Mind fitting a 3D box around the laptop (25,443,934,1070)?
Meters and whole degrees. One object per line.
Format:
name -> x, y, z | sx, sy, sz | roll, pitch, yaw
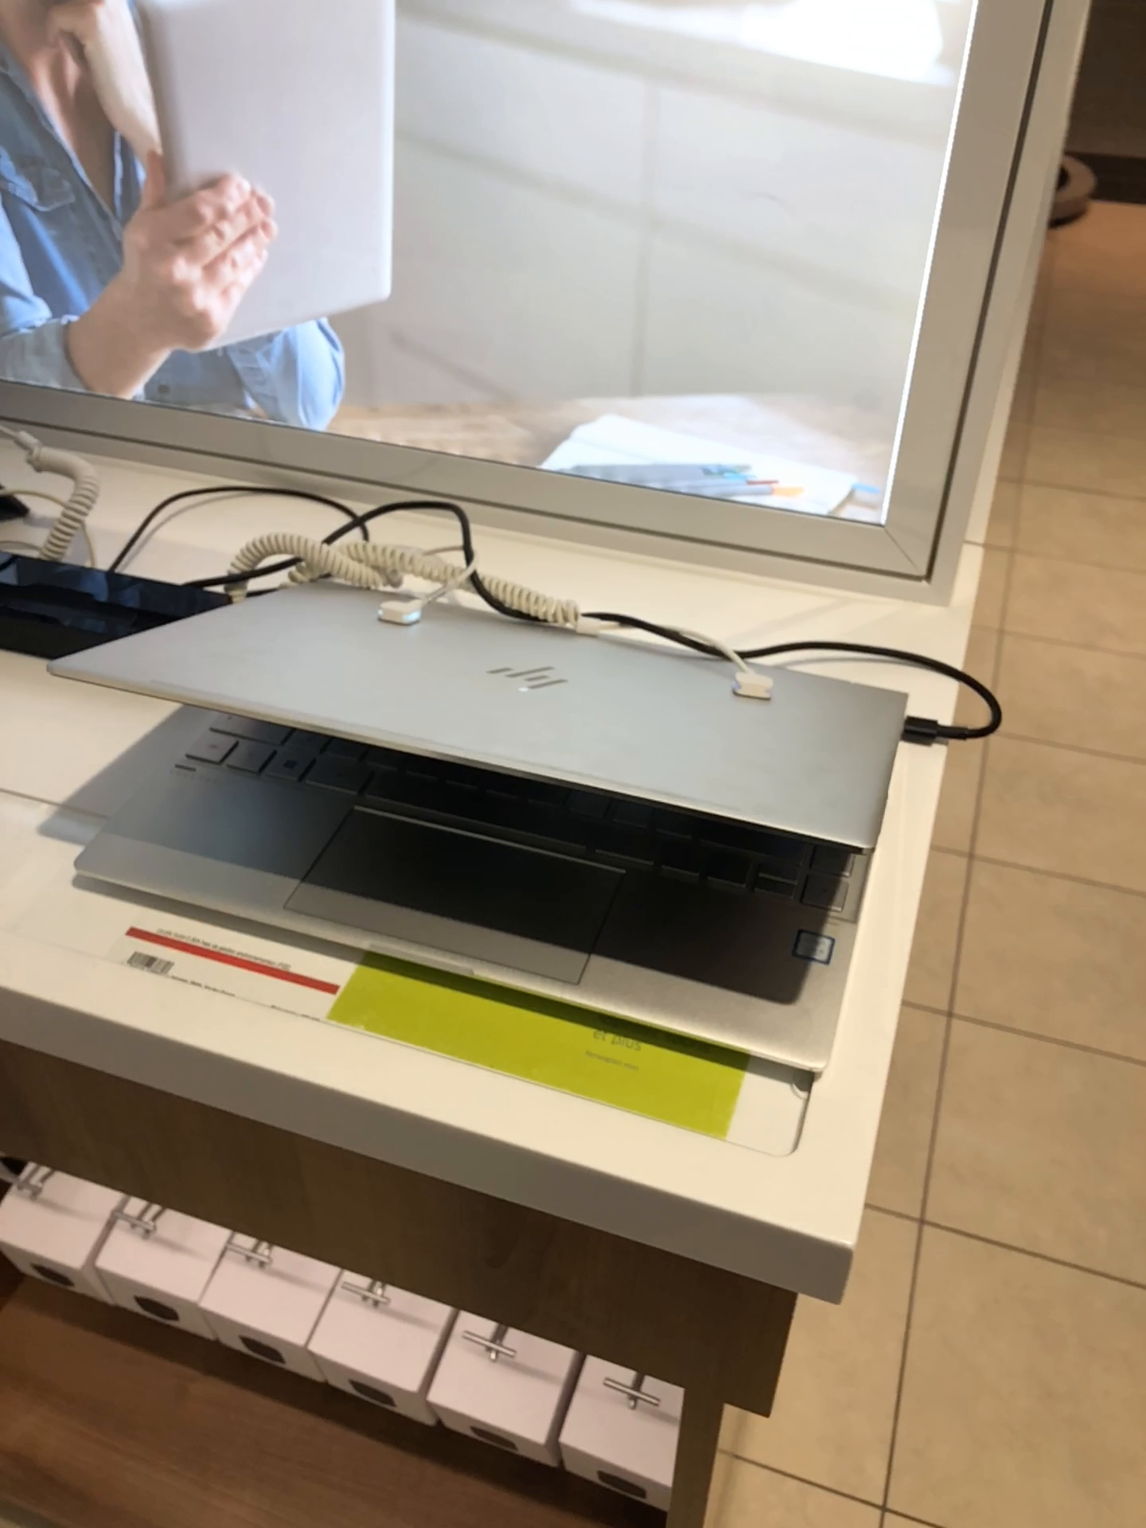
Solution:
laptop -> -0.022, -0.025, 0.519 | 0.298, 0.078, 0.212 | 13, 43, 14
